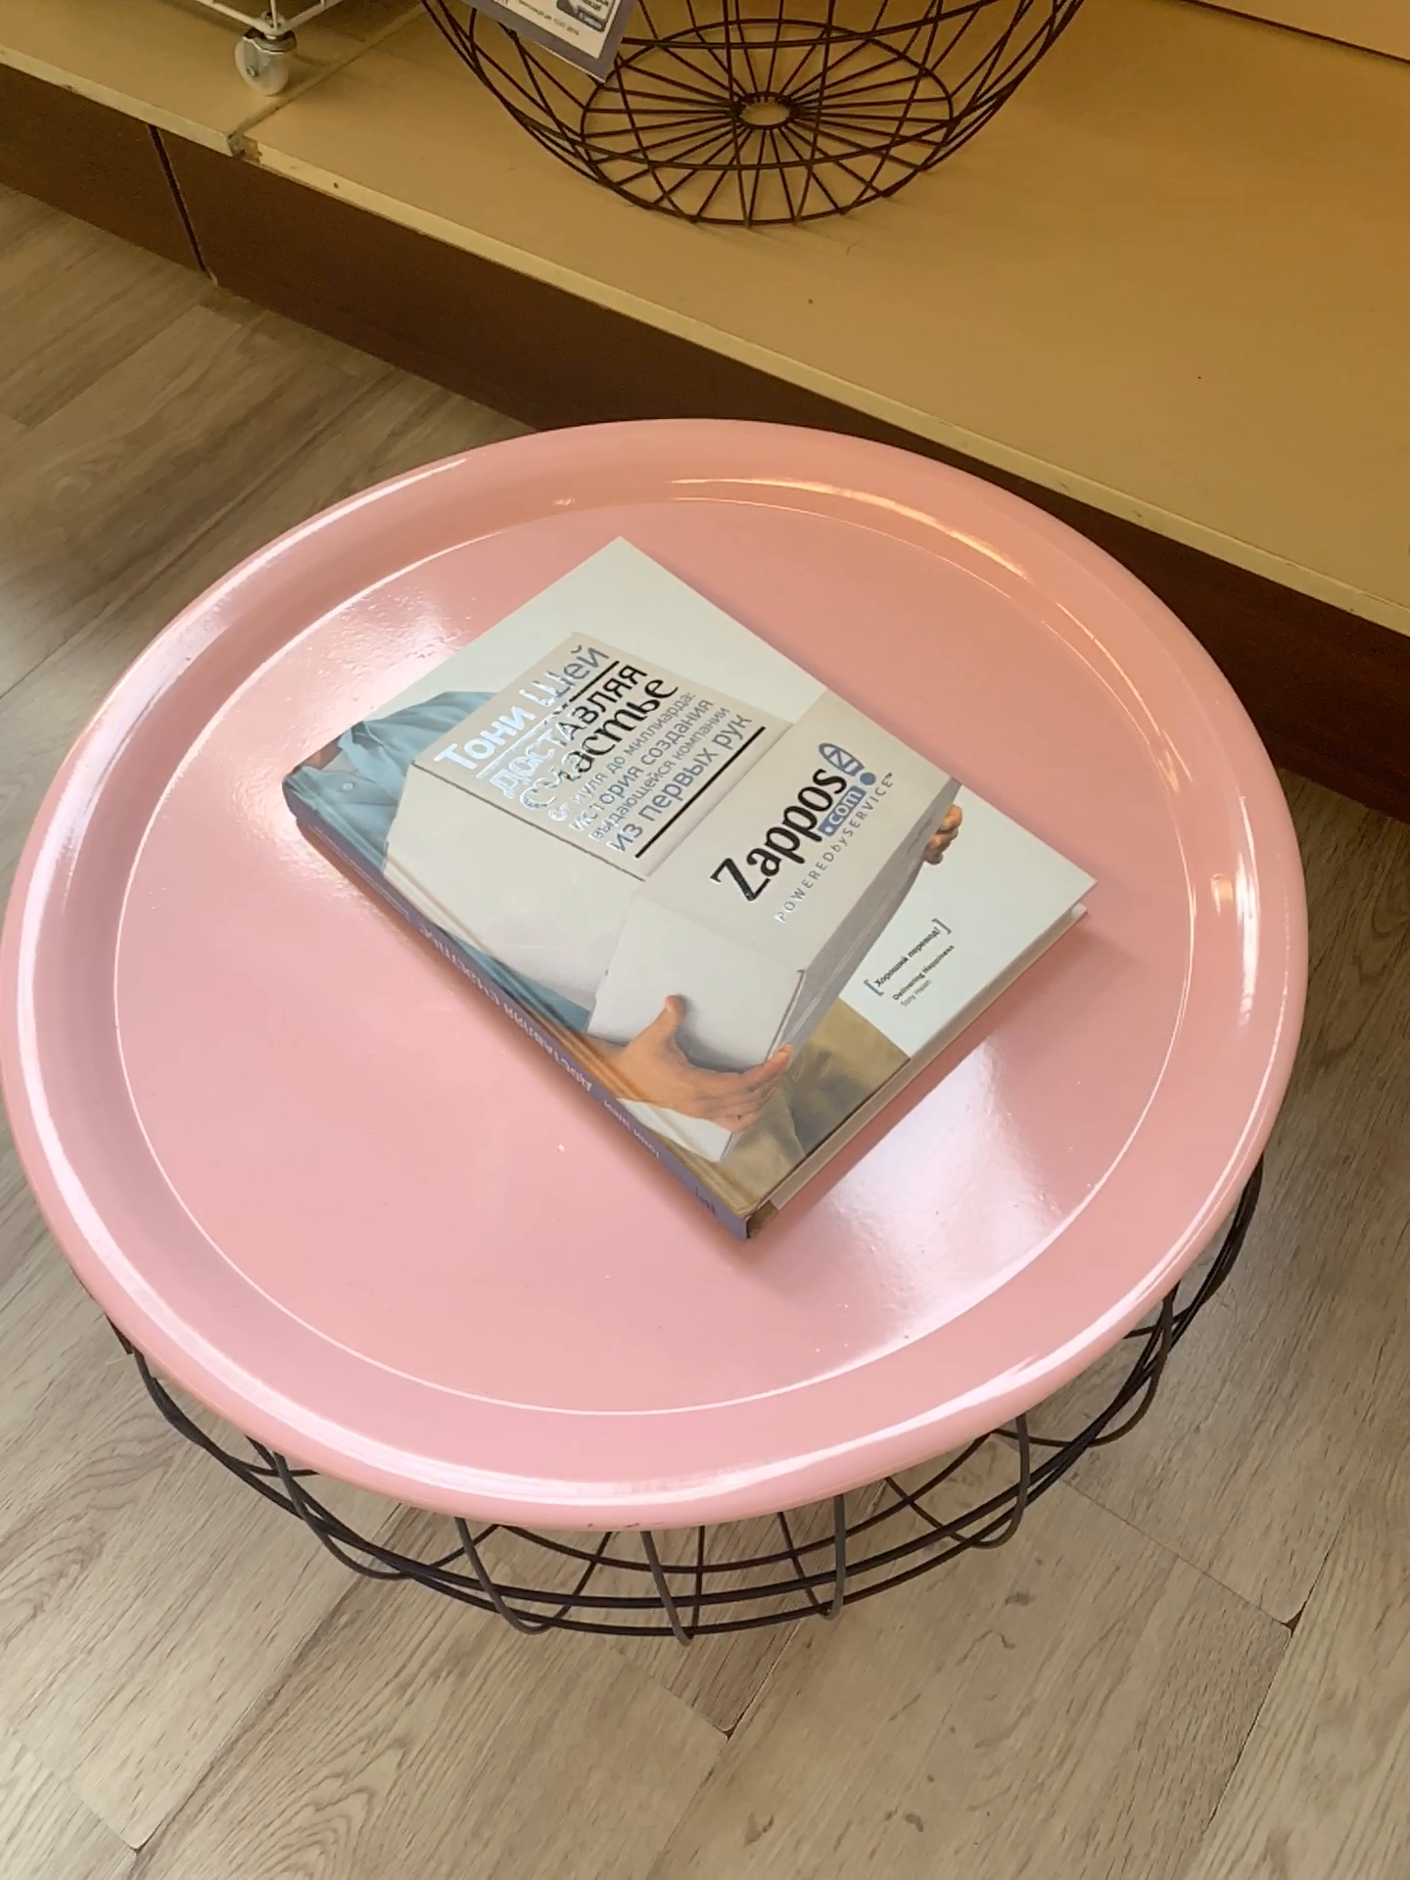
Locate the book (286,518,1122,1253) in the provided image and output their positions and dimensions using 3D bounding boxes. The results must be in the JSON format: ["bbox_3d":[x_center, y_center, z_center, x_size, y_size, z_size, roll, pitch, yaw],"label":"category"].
[{"bbox_3d":[-0.005,-0.034,0.500,0.170,0.030,0.232,-40,65,-19],"label":"book"}]
